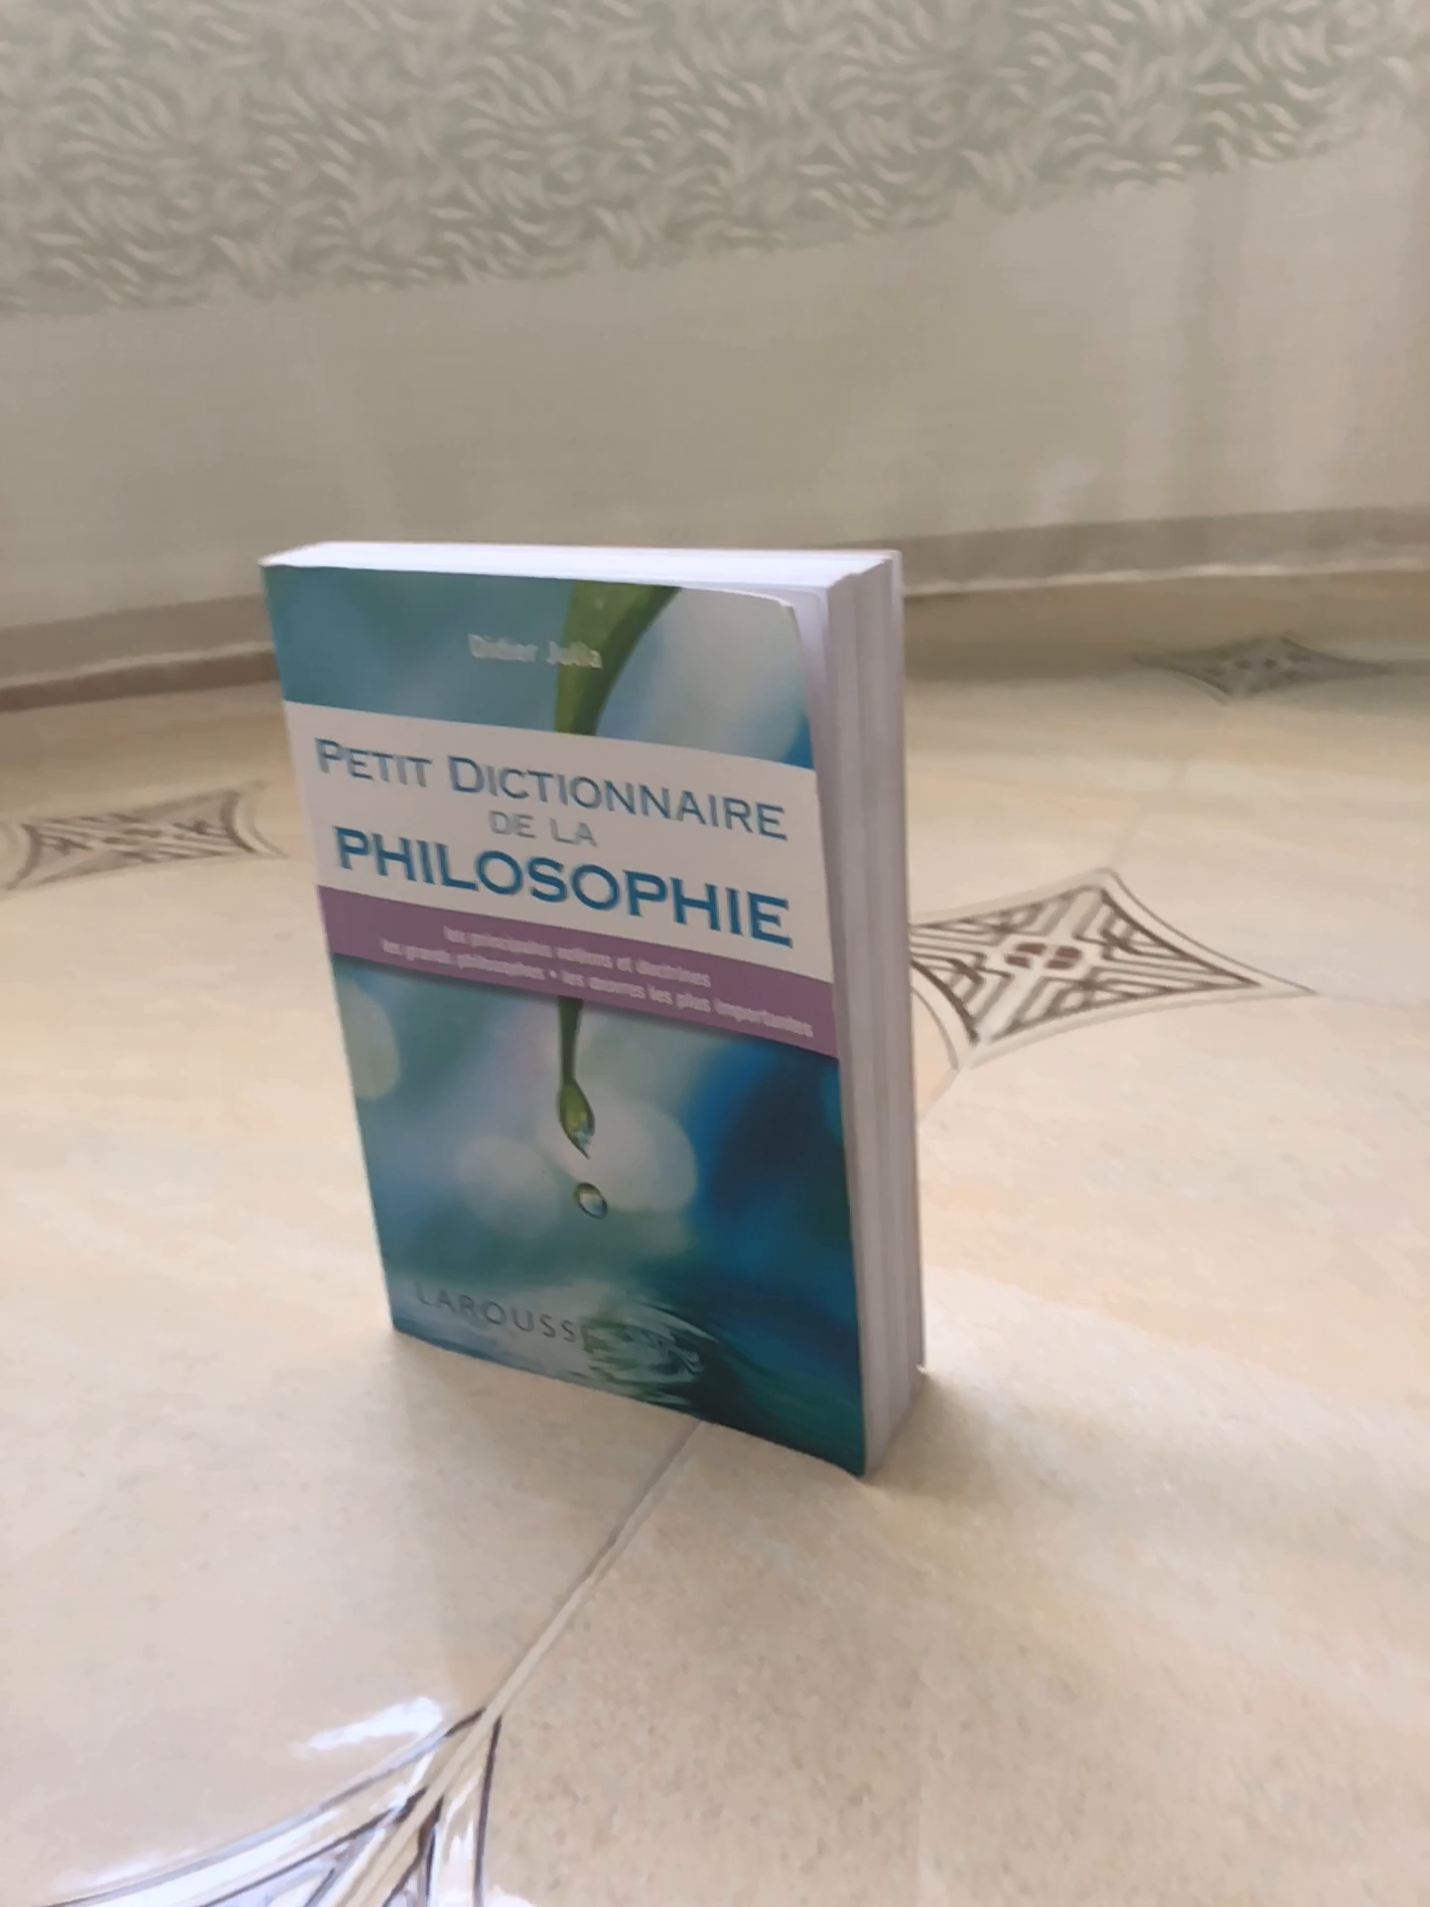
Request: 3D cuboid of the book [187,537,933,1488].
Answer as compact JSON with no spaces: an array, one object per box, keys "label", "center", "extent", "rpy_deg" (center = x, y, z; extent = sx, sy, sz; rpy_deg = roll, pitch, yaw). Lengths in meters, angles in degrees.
[{"label":"book","center":[-0.028,0.010,0.336],"extent":[0.140,0.185,0.034],"rpy_deg":[9,28,27]}]
